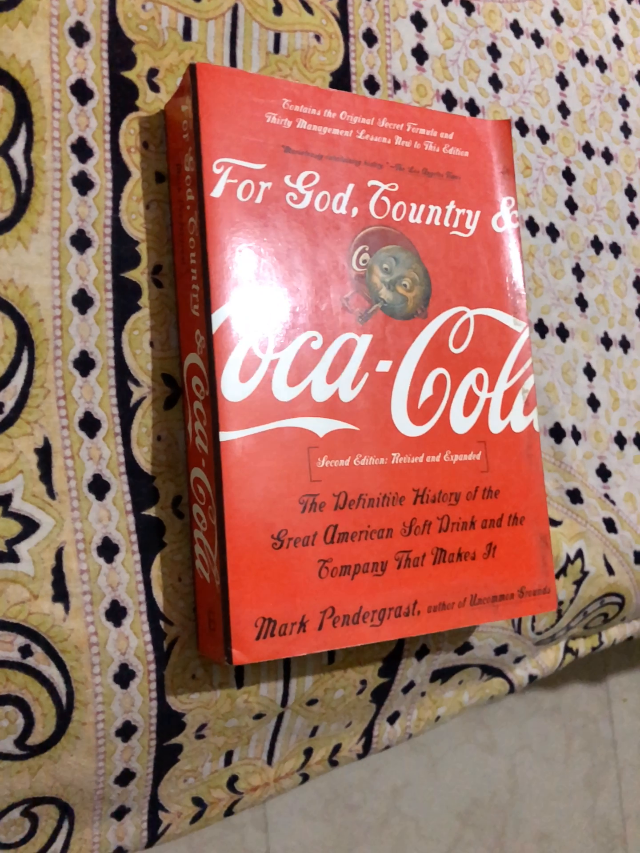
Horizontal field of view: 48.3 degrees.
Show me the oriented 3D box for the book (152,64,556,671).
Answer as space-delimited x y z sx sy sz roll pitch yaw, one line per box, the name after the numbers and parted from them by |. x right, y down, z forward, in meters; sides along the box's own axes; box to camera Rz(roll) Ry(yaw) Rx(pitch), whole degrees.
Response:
0.016 -0.026 0.323 0.161 0.050 0.230 -2 84 -26 | book
